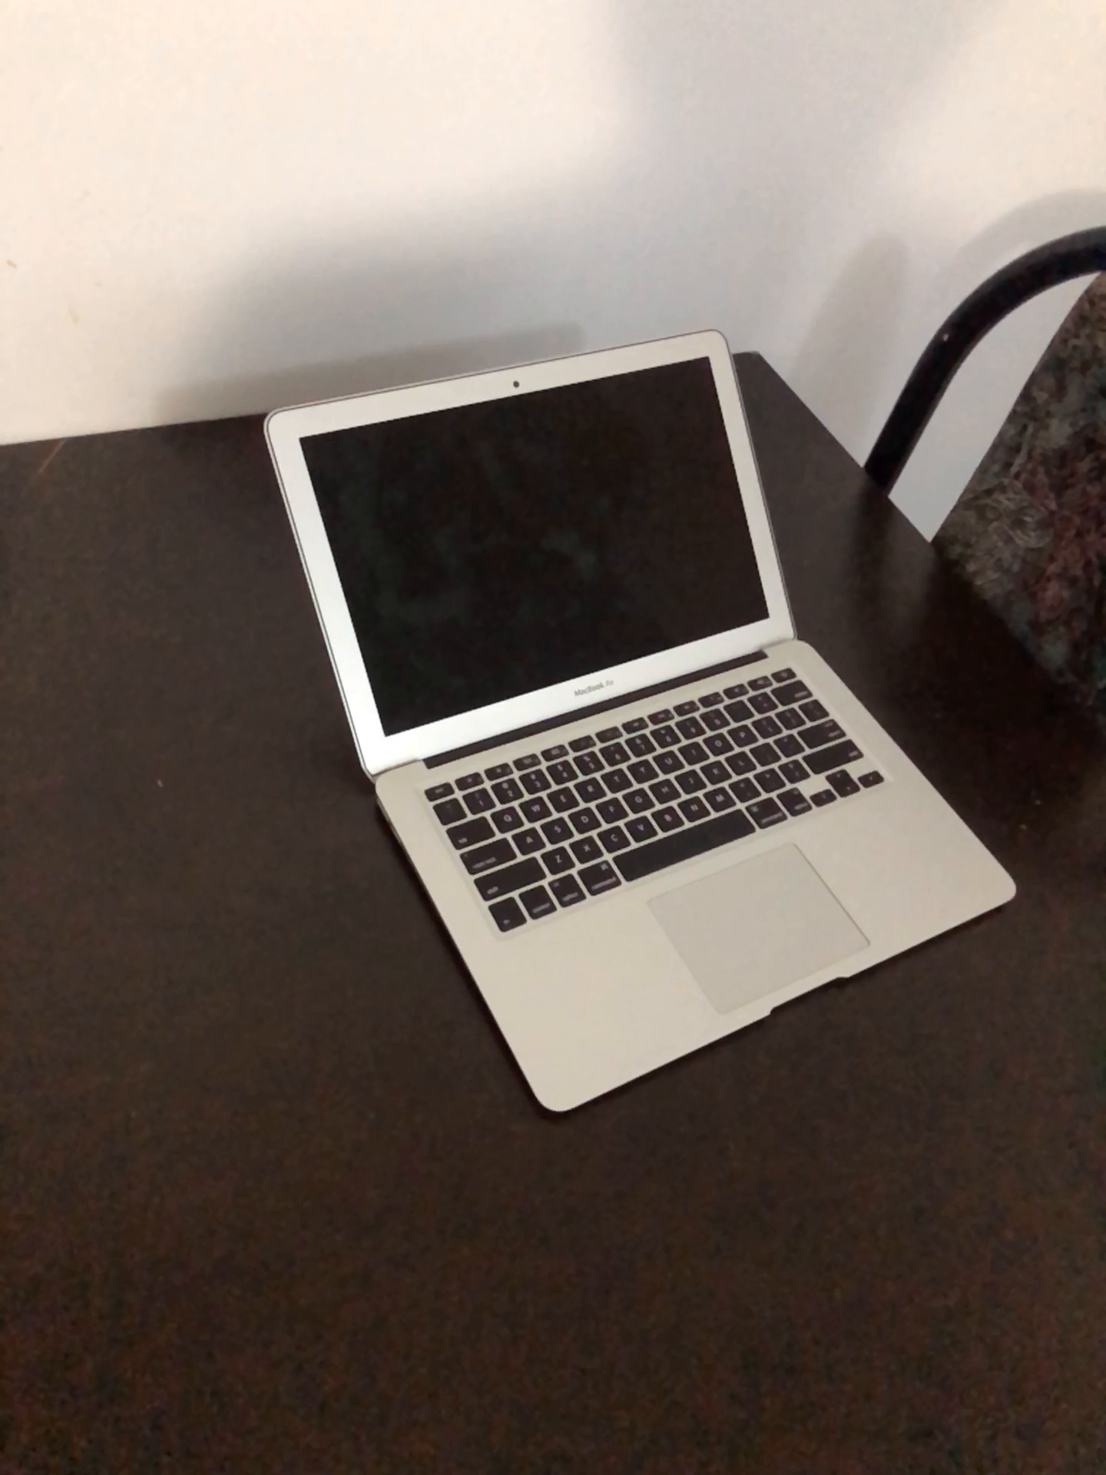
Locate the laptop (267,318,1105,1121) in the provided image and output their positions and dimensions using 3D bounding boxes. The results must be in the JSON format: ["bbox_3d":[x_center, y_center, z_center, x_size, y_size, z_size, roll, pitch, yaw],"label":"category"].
[{"bbox_3d":[0.055,-0.045,0.659,0.303,0.136,0.362,-18,55,-24],"label":"laptop"}]
